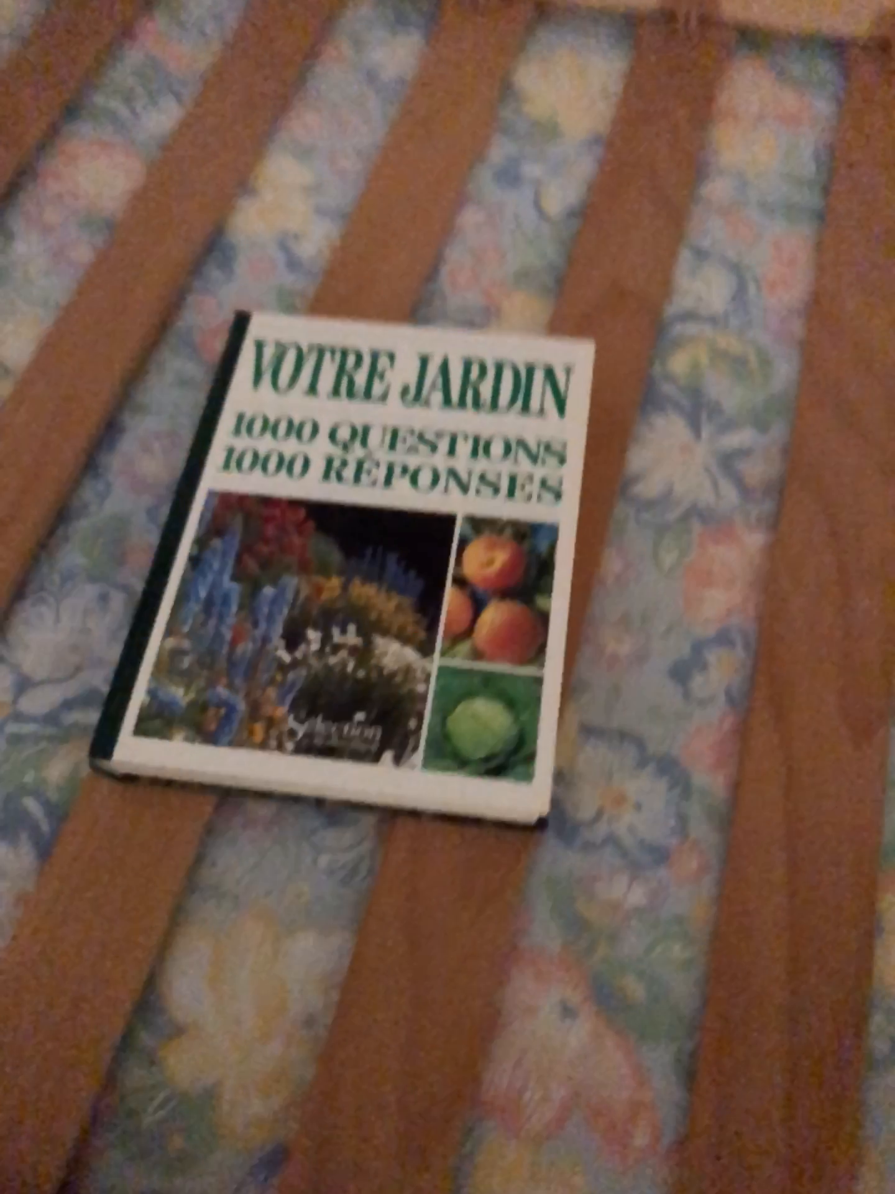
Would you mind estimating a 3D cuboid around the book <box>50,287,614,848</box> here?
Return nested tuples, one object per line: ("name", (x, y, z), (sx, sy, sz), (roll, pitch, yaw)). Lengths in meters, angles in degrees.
("book", (-0.039, -0.030, 0.496), (0.220, 0.050, 0.271), (6, 62, 6))
